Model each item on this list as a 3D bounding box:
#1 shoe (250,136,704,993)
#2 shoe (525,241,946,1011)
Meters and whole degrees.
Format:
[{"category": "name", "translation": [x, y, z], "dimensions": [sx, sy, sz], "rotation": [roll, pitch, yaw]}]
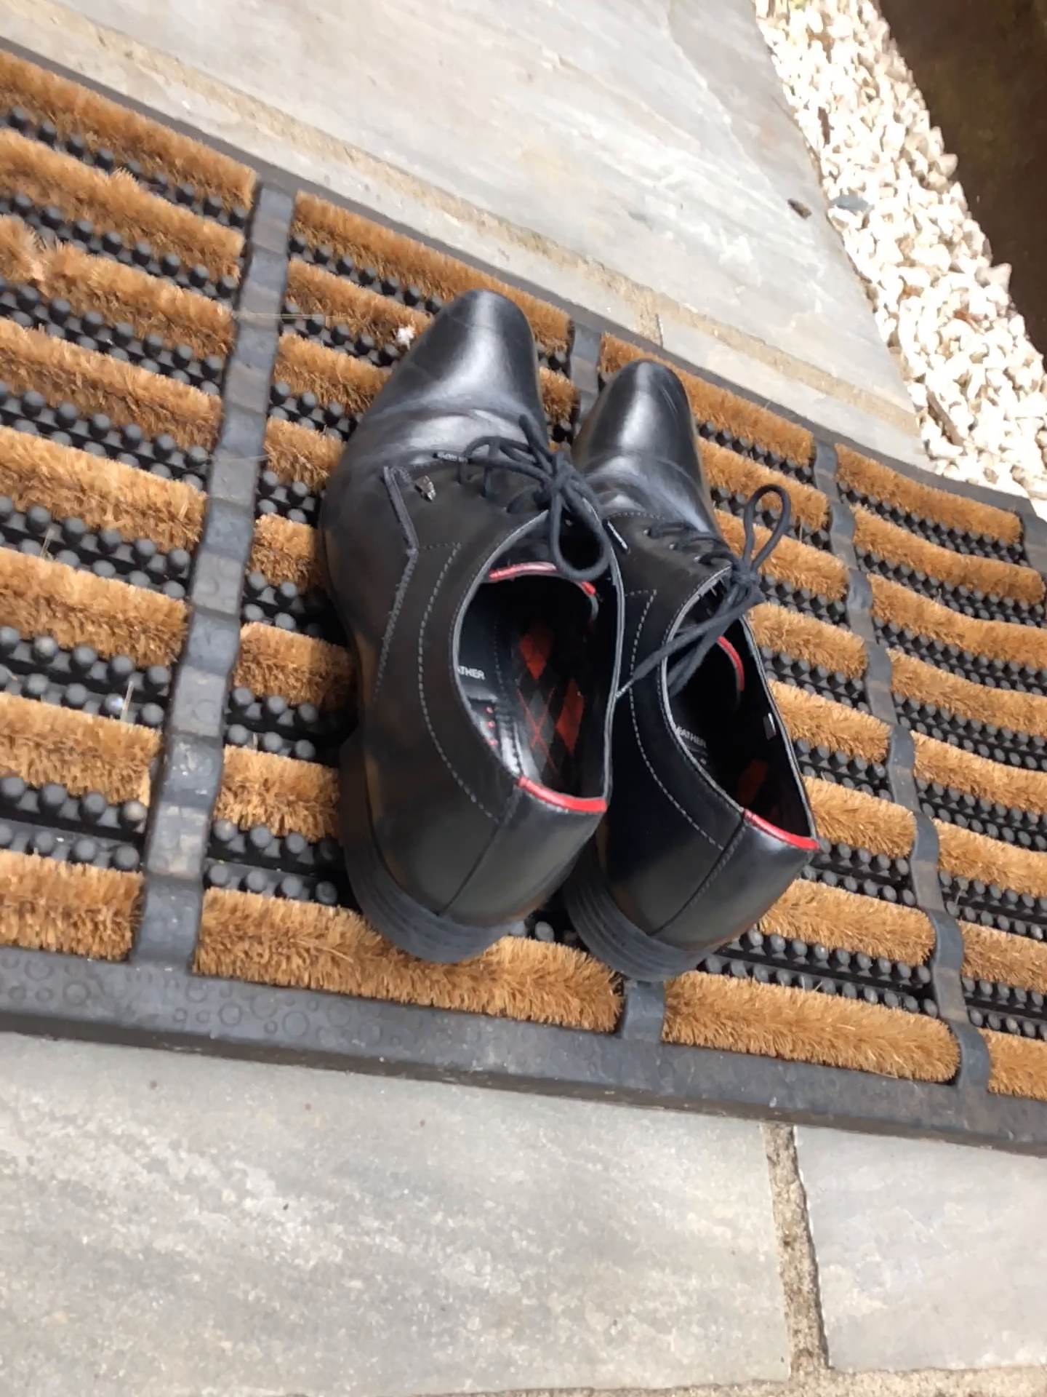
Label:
[{"category": "shoe", "translation": [-0.018, -0.060, 0.429], "dimensions": [0.100, 0.099, 0.301], "rotation": [18, 52, -26]}, {"category": "shoe", "translation": [0.071, -0.040, 0.482], "dimensions": [0.100, 0.099, 0.301], "rotation": [18, 52, -26]}]
